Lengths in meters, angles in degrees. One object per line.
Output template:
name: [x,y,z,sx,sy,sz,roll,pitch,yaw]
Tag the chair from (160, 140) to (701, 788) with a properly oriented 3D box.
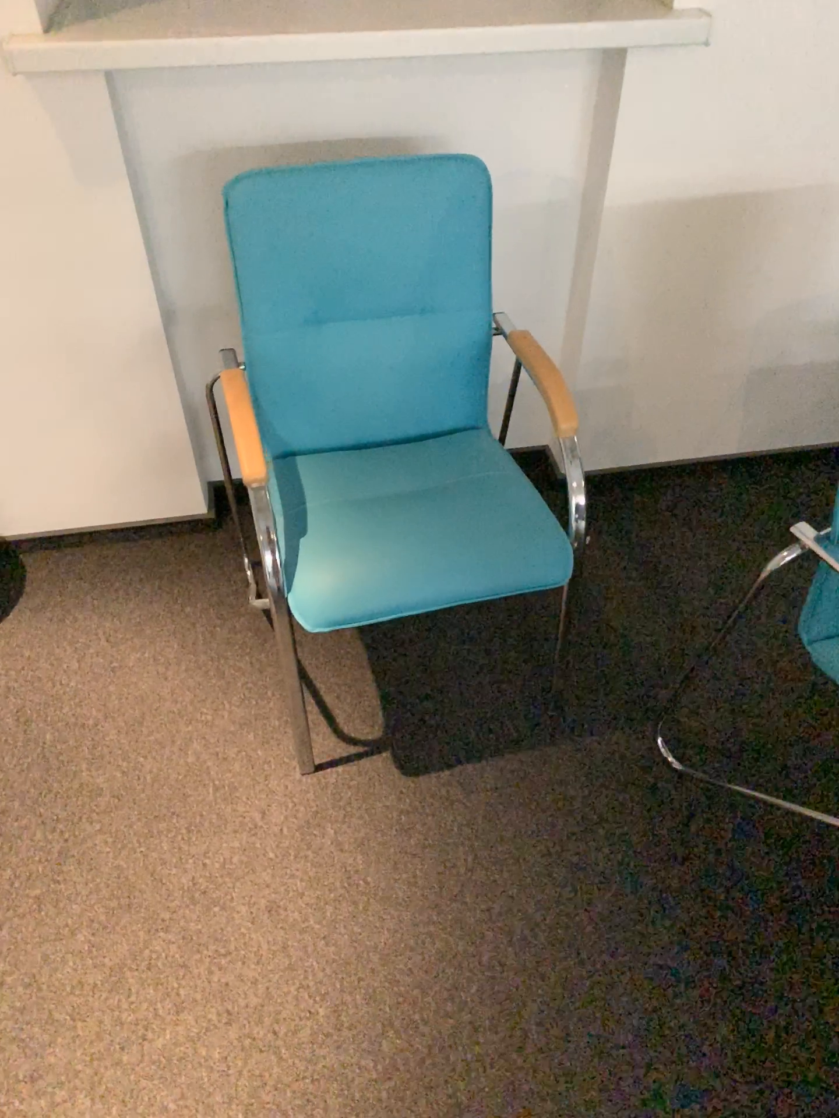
chair: [-0.035,-0.160,1.528,0.630,0.856,0.633,-11,46,-11]
